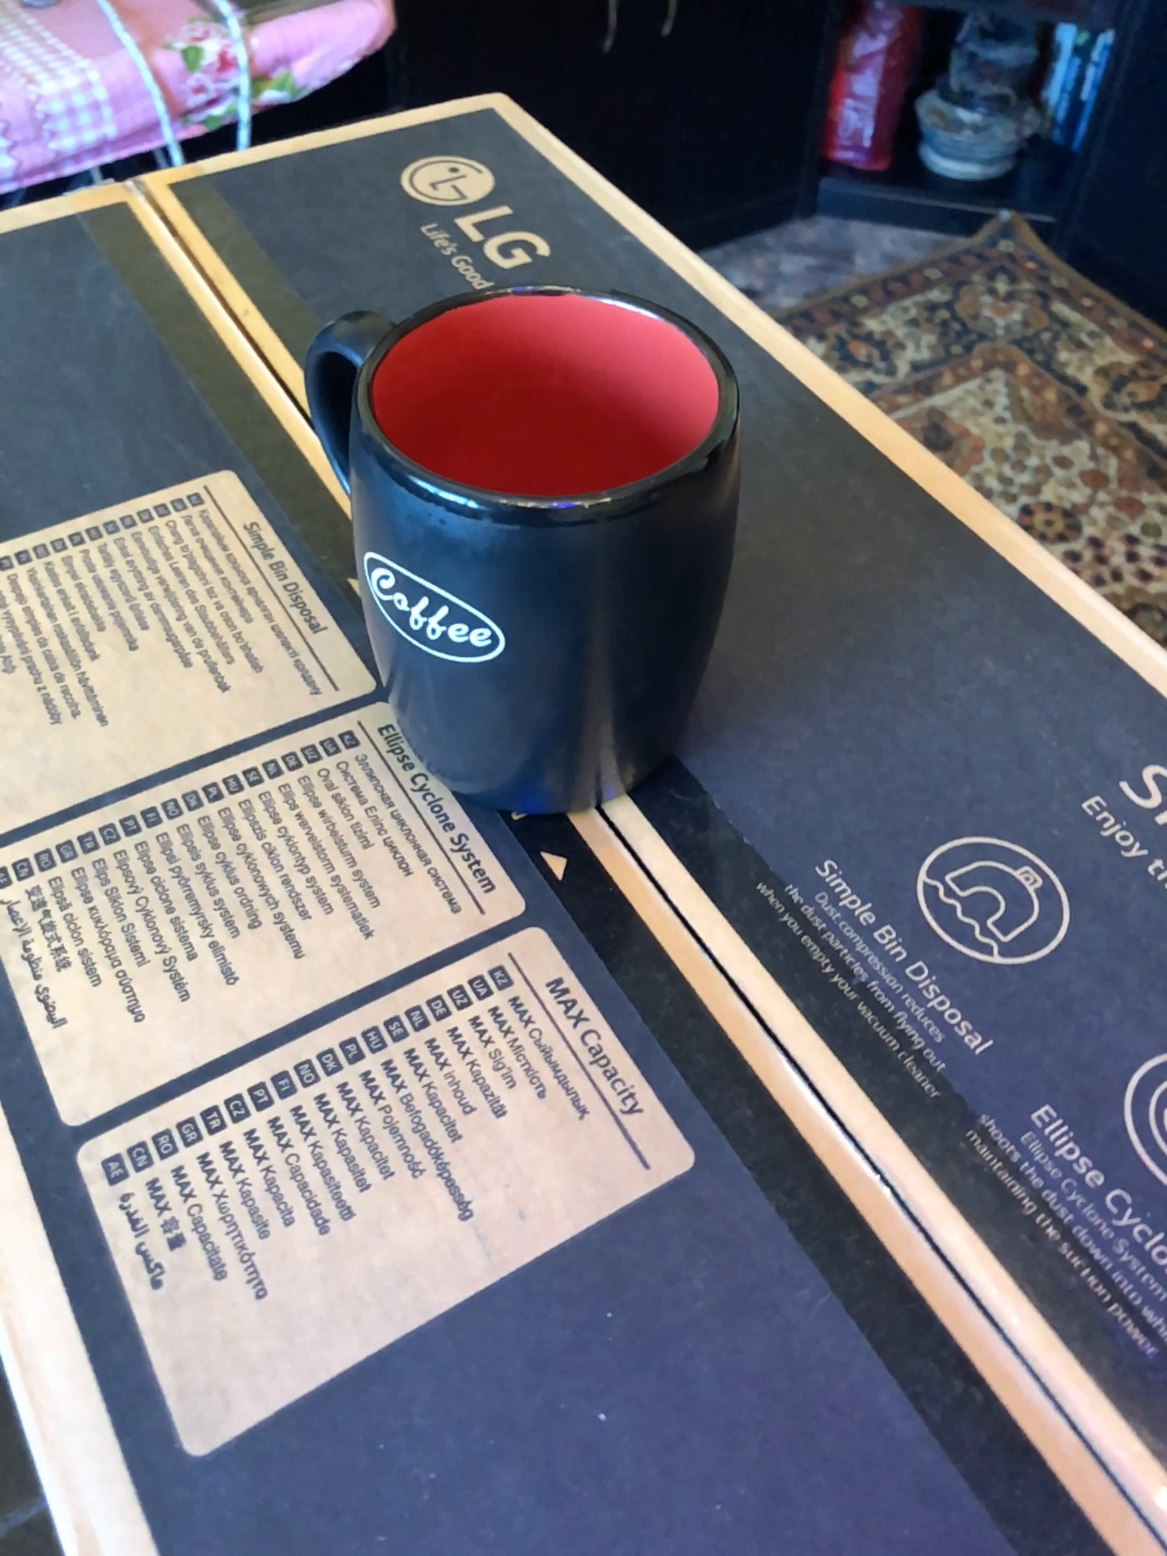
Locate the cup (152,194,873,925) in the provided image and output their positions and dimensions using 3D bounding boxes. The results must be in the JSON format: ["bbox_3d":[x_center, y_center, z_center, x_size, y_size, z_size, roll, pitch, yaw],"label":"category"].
[{"bbox_3d":[-0.017,-0.054,0.301,0.090,0.090,0.120,-37,61,-26],"label":"cup"}]
